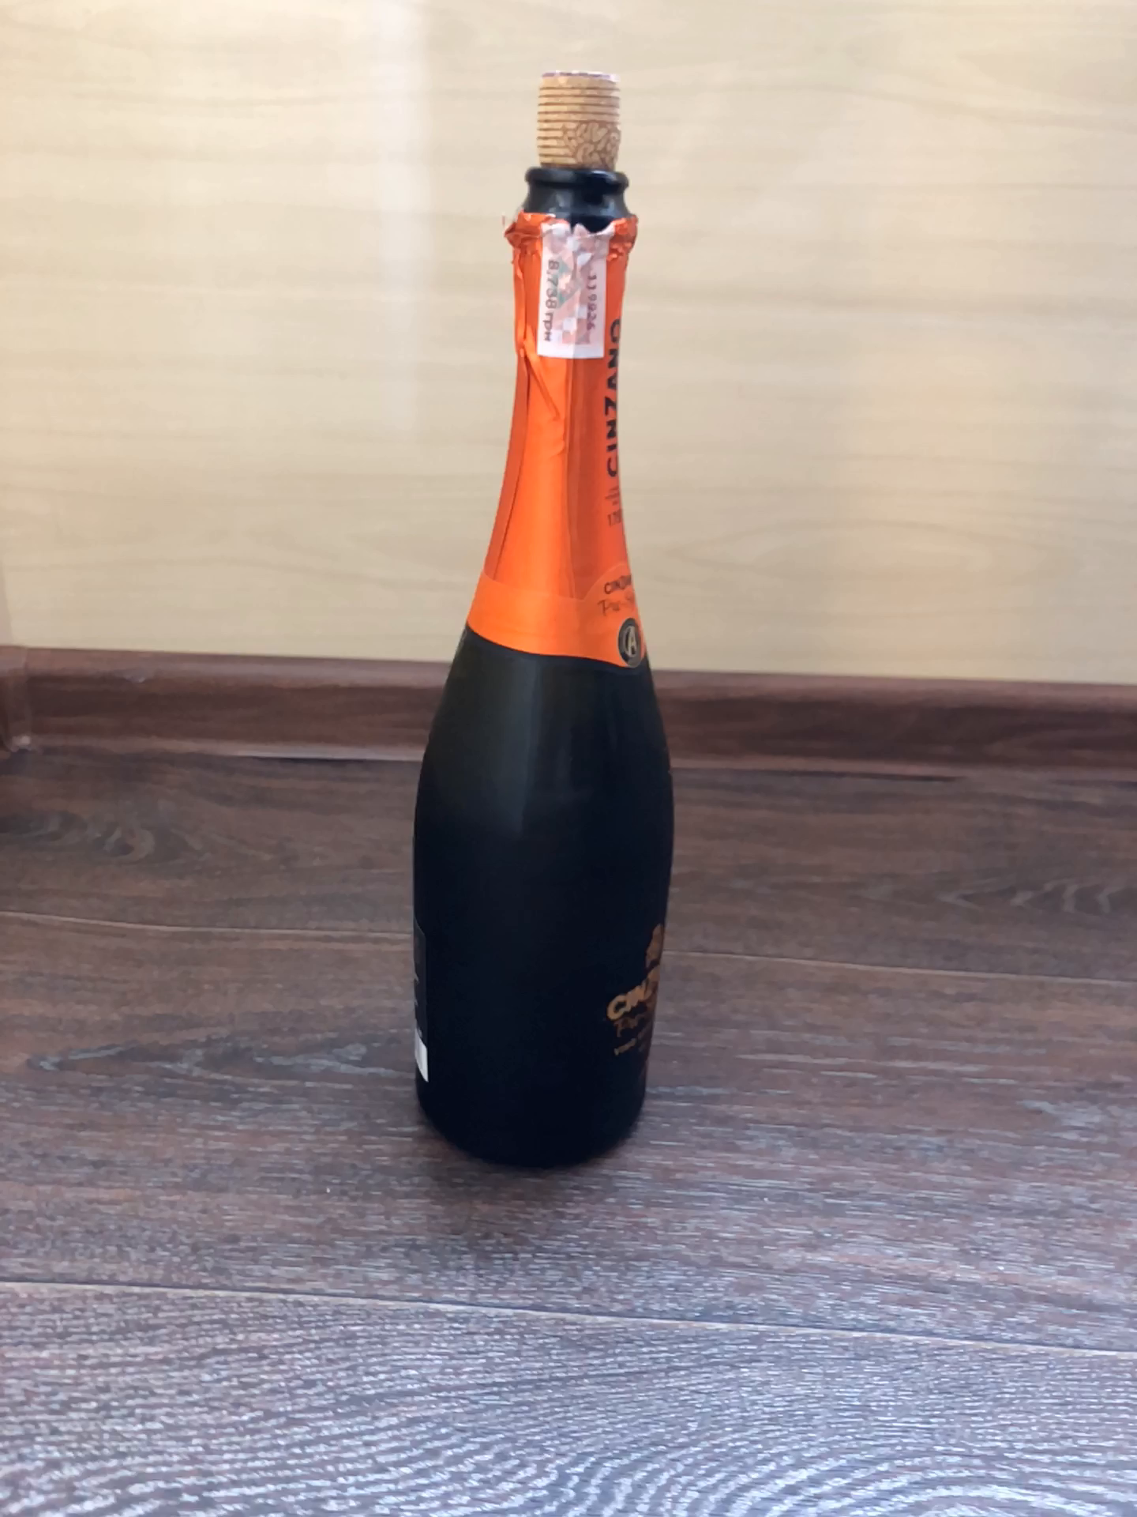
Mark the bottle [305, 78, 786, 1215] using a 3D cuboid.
[{"bbox_3d":[-0.007,-0.028,0.405,0.100,0.328,0.093,1,23,-1],"label":"bottle"}]
